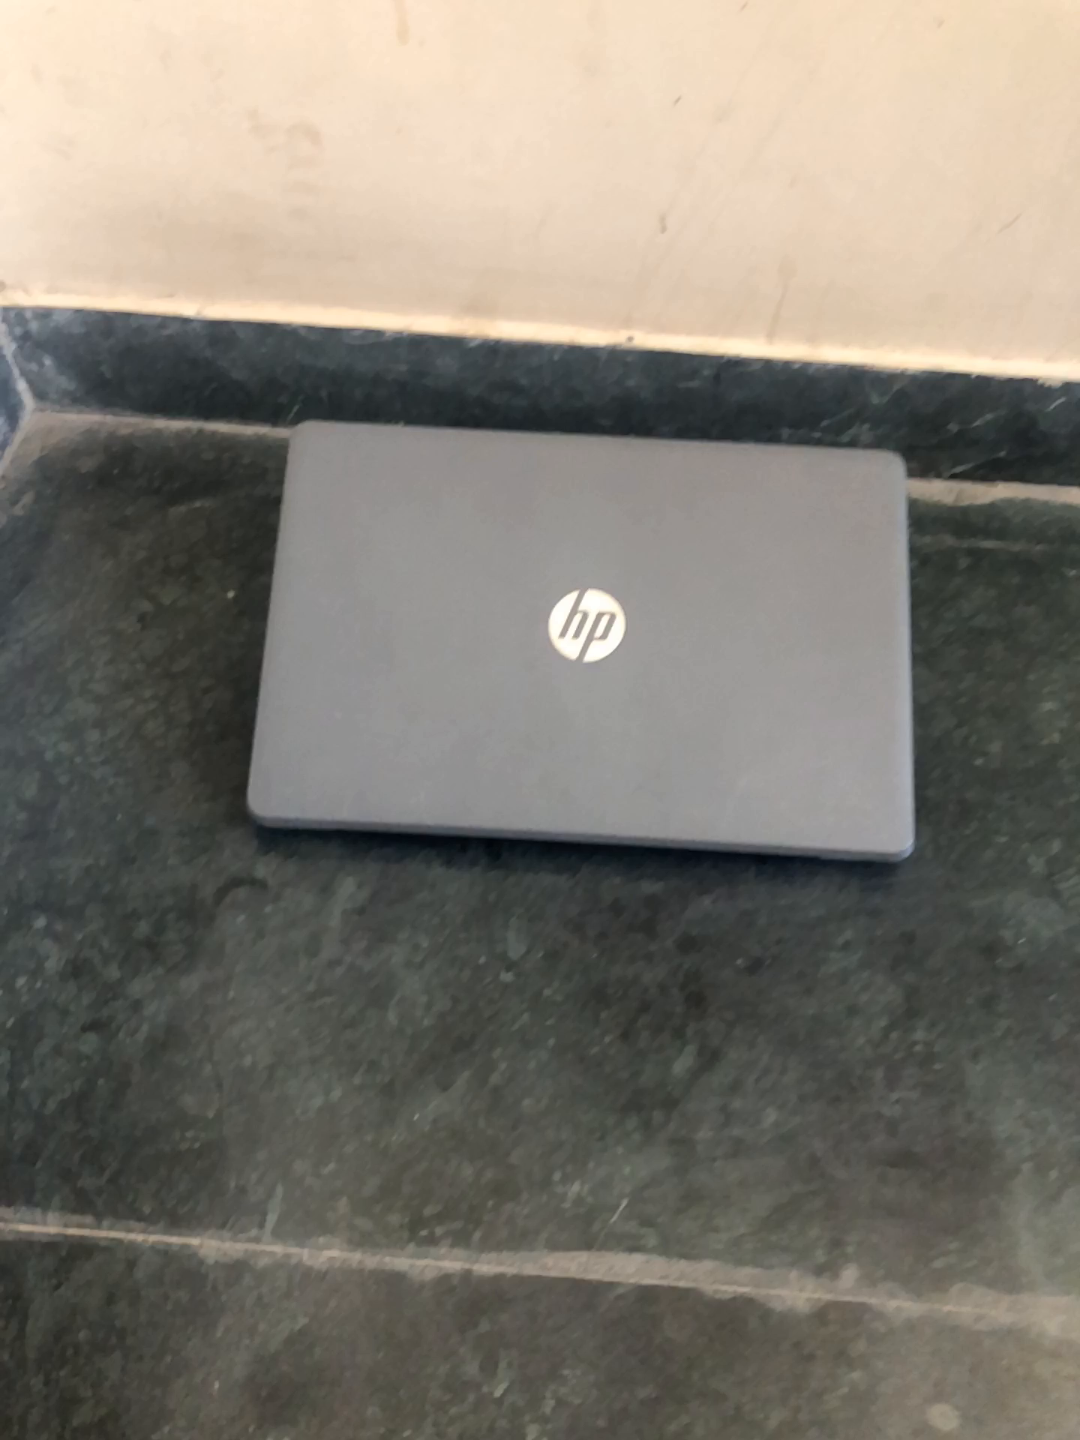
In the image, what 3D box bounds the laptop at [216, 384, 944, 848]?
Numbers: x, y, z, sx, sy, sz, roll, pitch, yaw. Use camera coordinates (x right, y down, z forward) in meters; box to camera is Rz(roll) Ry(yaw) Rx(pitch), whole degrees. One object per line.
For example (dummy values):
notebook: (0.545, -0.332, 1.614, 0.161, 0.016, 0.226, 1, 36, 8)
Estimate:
laptop: (0.025, -0.067, 0.689, 0.357, 0.092, 0.244, 3, 56, 1)
